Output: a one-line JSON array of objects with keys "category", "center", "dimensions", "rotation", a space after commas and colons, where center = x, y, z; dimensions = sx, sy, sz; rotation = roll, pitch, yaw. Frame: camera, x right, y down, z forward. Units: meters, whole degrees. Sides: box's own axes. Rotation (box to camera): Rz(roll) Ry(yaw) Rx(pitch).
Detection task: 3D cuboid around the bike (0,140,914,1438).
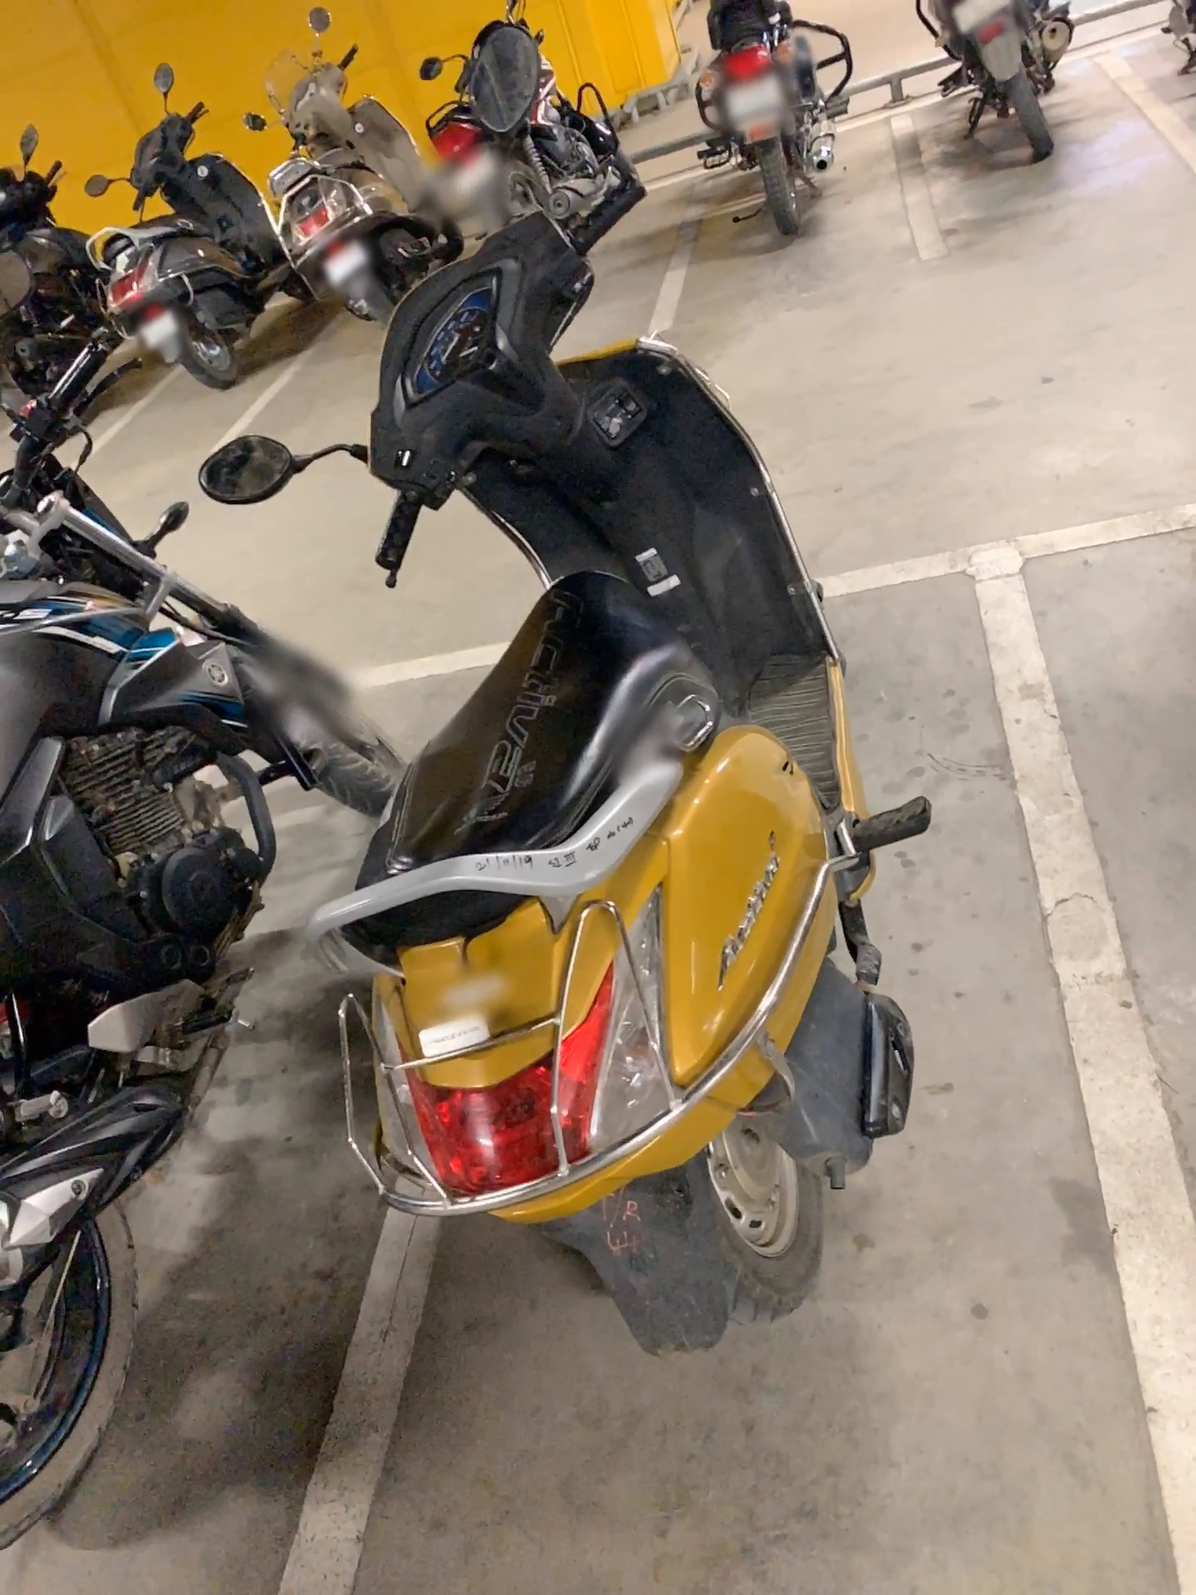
[{"category": "bike", "center": [-0.066, -0.154, 1.667], "dimensions": [0.569, 0.993, 1.527], "rotation": [-13, 35, 12]}]
